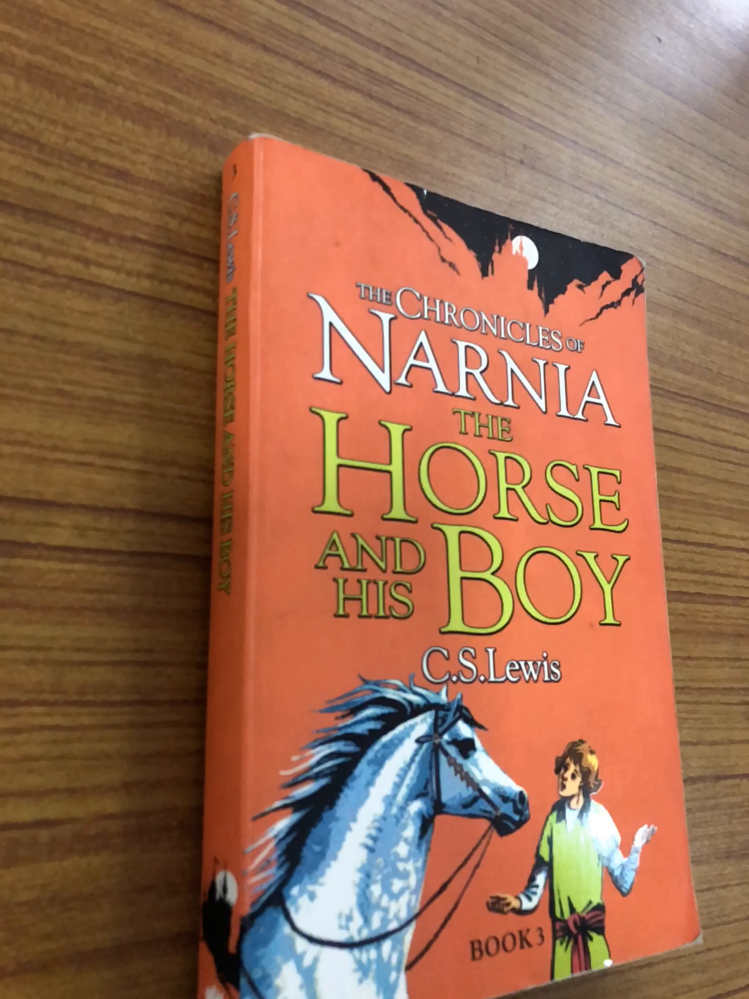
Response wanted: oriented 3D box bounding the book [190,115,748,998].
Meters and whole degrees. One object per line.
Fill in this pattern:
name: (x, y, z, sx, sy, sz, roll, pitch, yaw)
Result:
book: (0.026, 0.022, 0.202, 0.130, 0.030, 0.190, 7, 75, -32)
